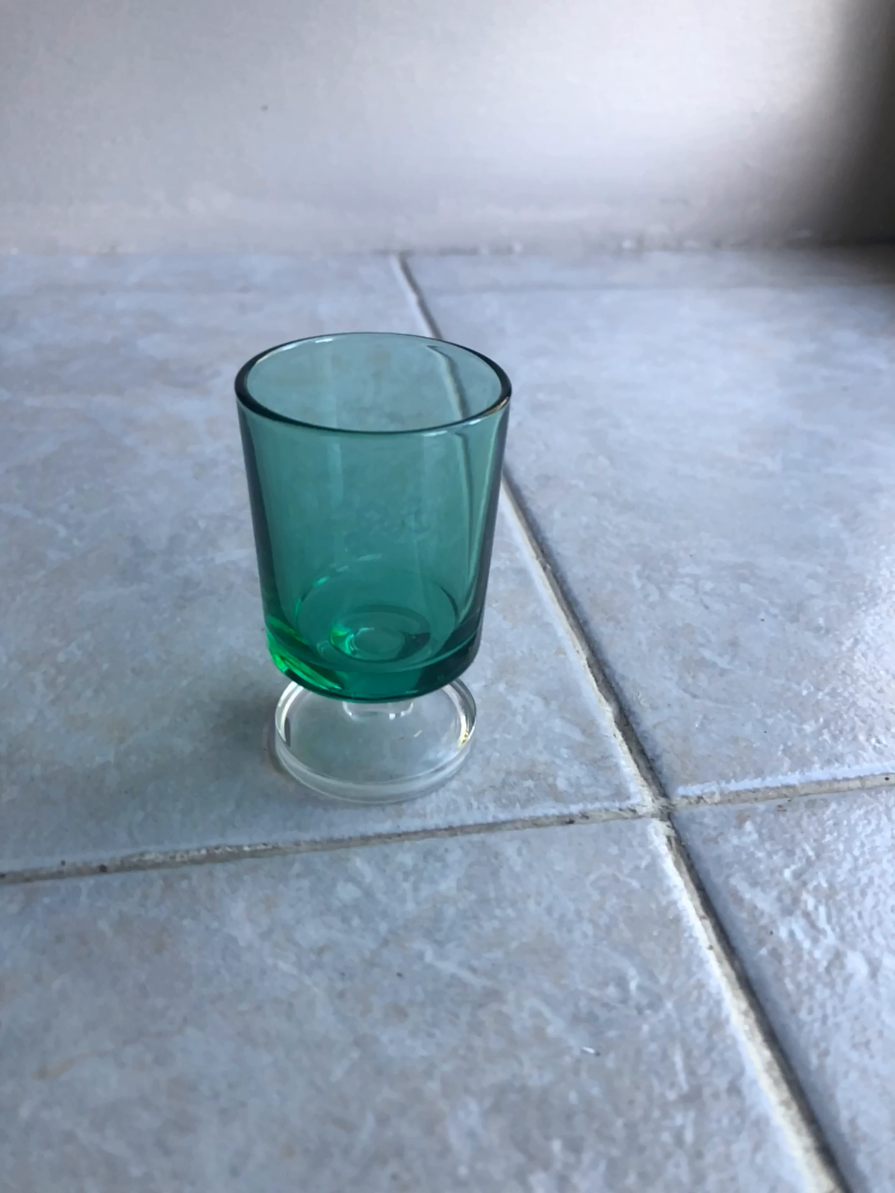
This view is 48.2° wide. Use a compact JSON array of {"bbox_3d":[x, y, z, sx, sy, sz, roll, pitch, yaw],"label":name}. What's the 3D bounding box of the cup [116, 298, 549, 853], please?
[{"bbox_3d":[-0.016,-0.006,0.164,0.045,0.068,0.044,0,33,0],"label":"cup"}]
